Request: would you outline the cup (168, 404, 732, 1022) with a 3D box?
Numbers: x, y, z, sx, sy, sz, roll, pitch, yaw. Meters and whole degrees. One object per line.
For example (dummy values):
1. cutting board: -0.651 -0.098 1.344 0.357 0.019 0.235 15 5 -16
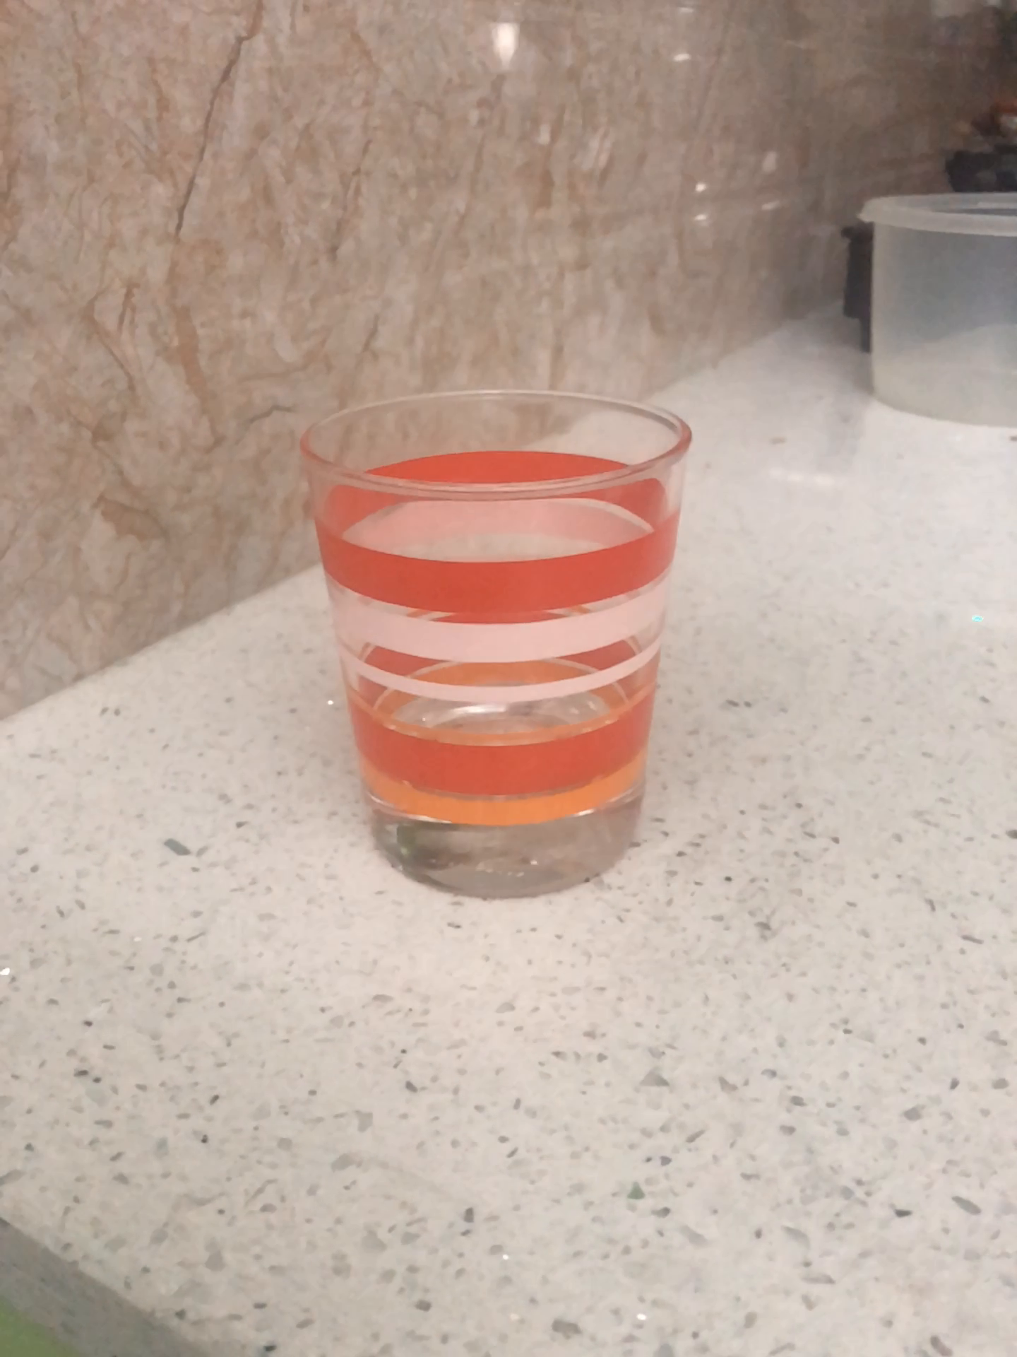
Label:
1. cup: -0.004 -0.002 0.242 0.080 0.090 0.090 8 27 20
